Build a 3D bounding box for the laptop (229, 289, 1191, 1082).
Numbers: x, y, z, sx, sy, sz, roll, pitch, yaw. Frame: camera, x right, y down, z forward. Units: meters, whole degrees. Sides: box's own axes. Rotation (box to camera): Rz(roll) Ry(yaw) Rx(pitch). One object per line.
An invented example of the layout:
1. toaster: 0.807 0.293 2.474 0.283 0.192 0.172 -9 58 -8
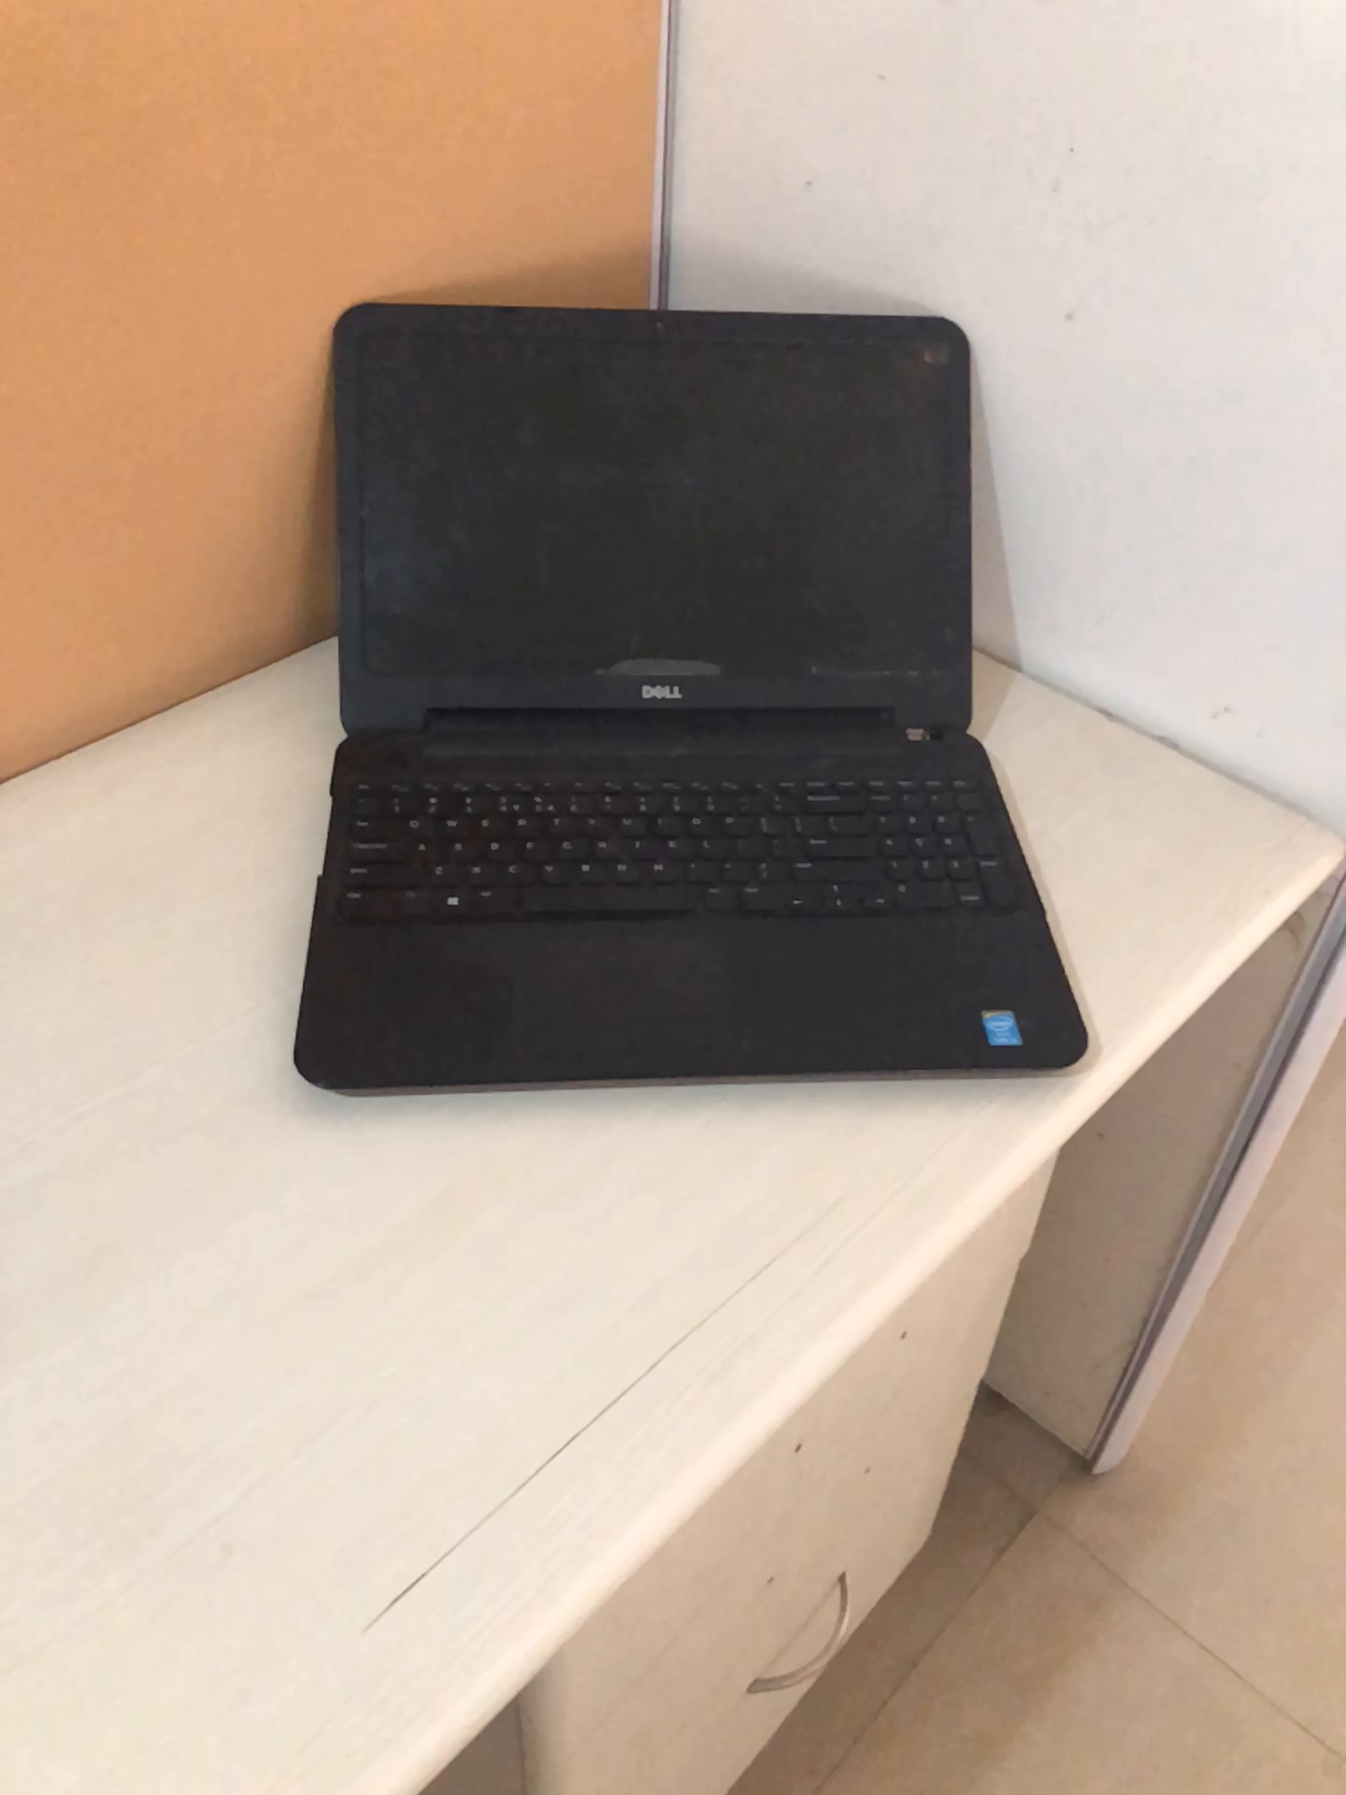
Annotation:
1. laptop: -0.001 -0.131 0.745 0.352 0.175 0.416 -1 43 -4
